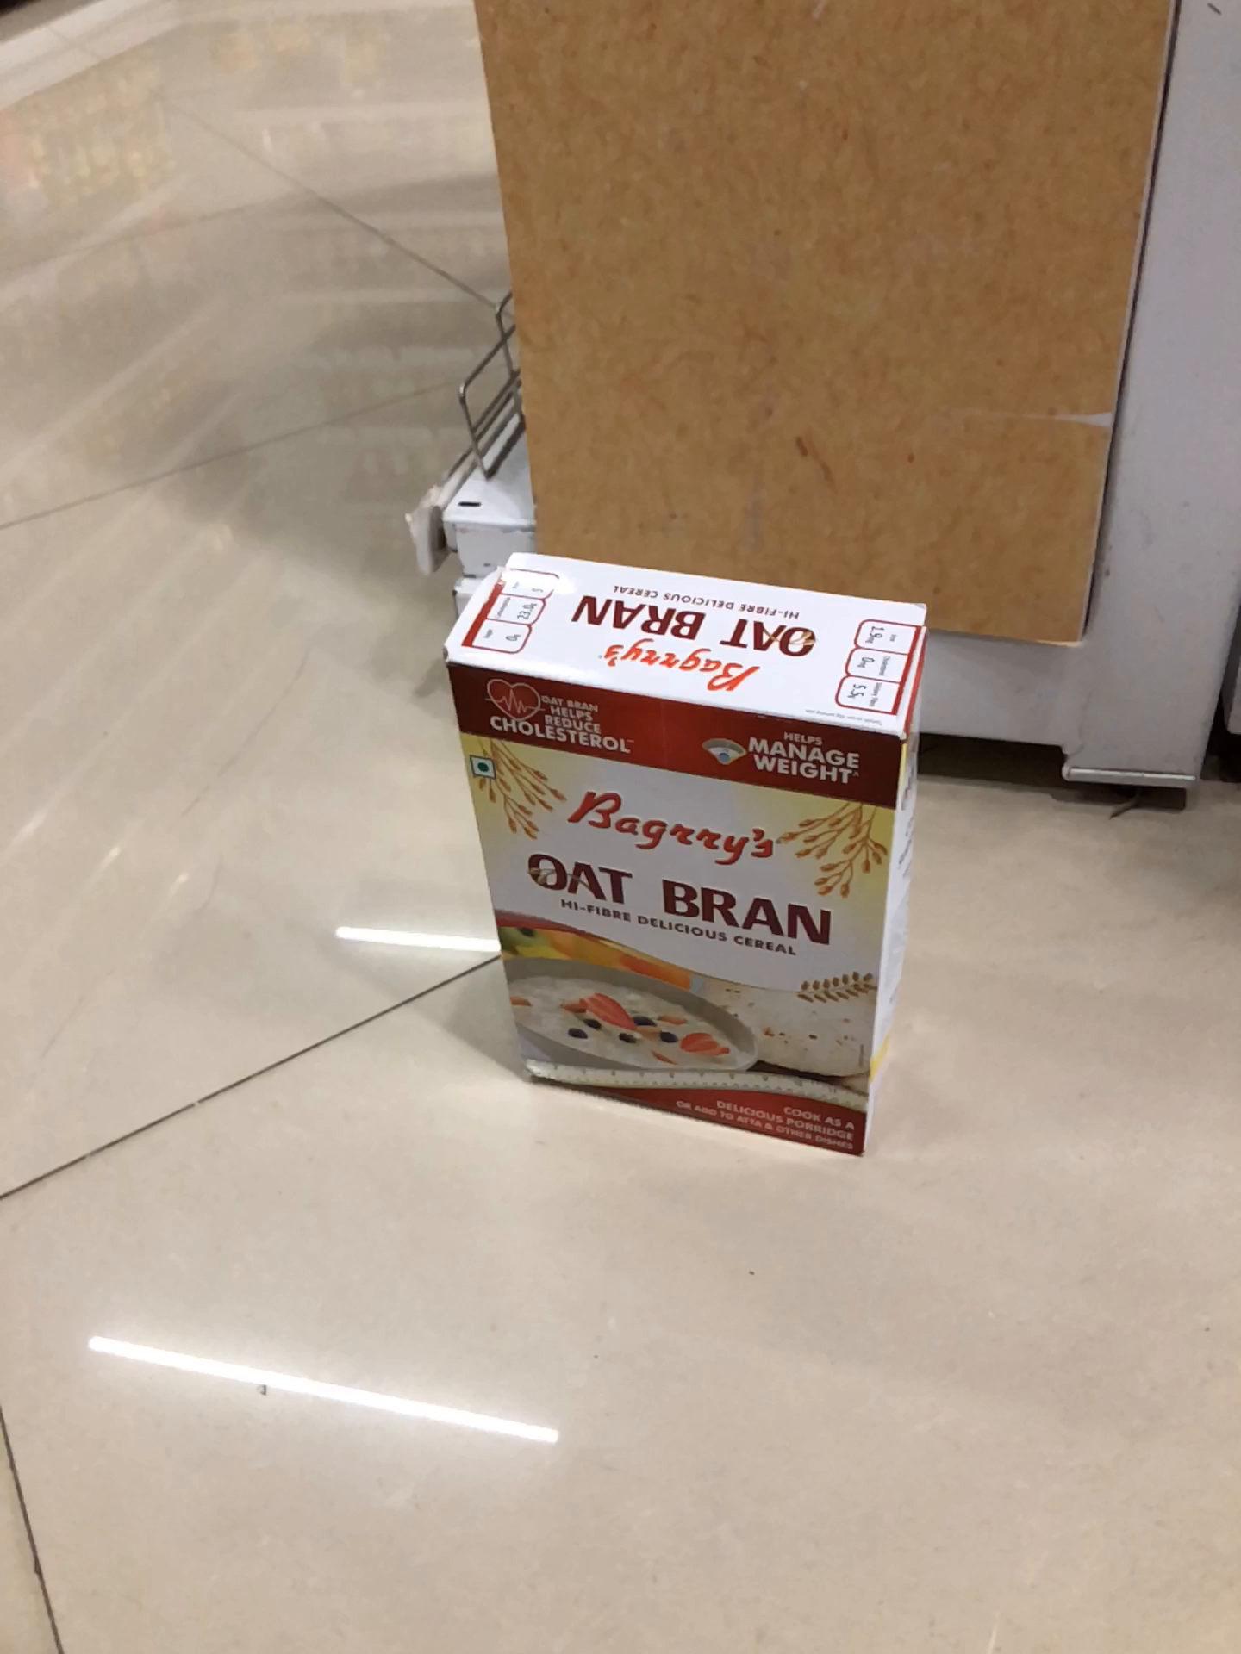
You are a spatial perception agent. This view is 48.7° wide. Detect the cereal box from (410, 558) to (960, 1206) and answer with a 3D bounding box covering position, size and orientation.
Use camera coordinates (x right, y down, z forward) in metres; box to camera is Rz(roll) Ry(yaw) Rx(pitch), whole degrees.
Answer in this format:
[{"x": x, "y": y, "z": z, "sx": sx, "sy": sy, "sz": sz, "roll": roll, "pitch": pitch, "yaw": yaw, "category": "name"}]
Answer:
[{"x": 0.028, "y": 0.024, "z": 0.471, "sx": 0.150, "sy": 0.209, "sz": 0.060, "roll": 12, "pitch": 44, "yaw": 21, "category": "cereal box"}]
